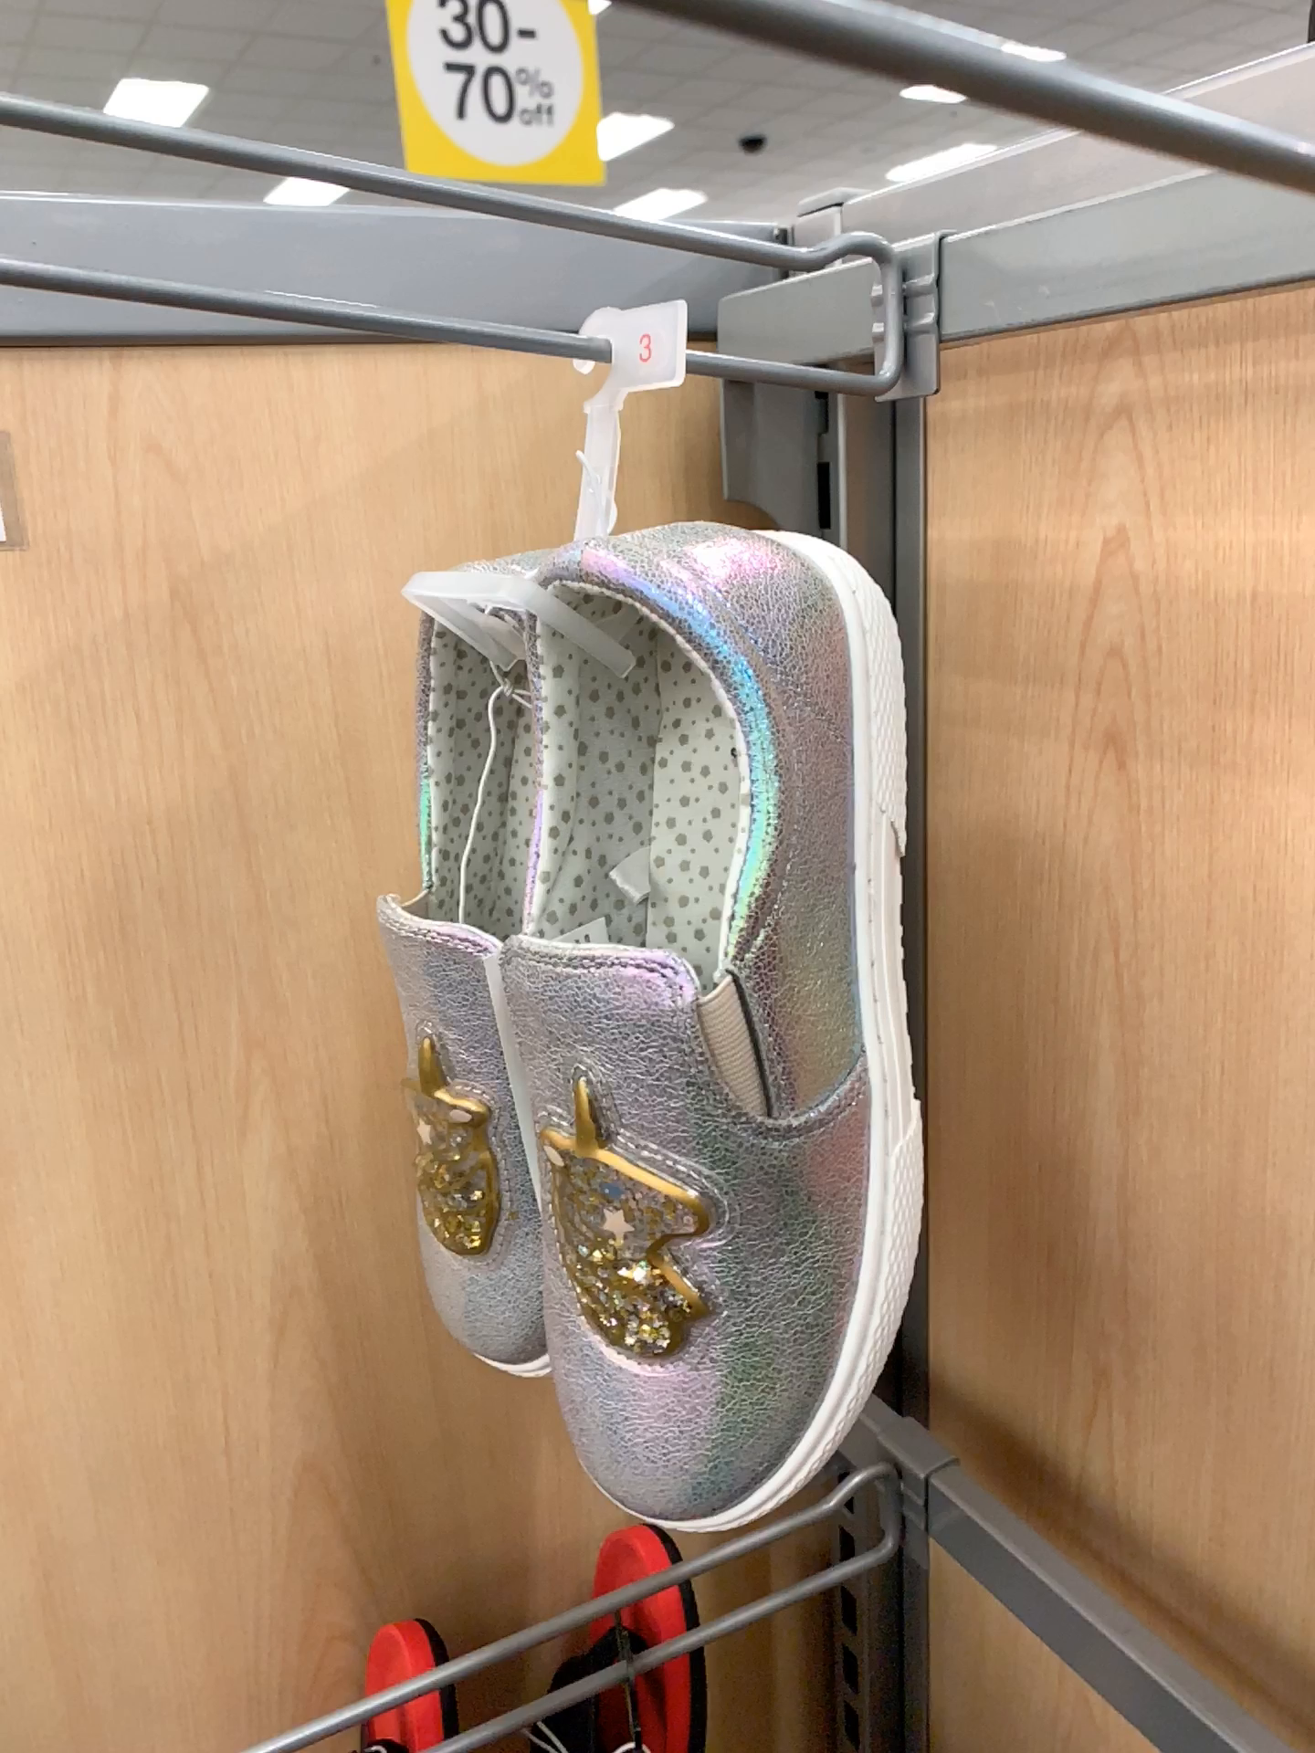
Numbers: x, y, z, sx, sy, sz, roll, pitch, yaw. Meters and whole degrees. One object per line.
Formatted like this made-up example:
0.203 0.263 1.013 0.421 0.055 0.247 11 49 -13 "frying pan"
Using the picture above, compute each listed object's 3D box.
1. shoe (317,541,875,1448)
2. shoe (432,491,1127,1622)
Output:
-0.018 0.018 0.386 0.113 0.221 0.100 -9 16 -32 "shoe"
0.024 0.026 0.321 0.113 0.221 0.100 -9 16 -32 "shoe"
